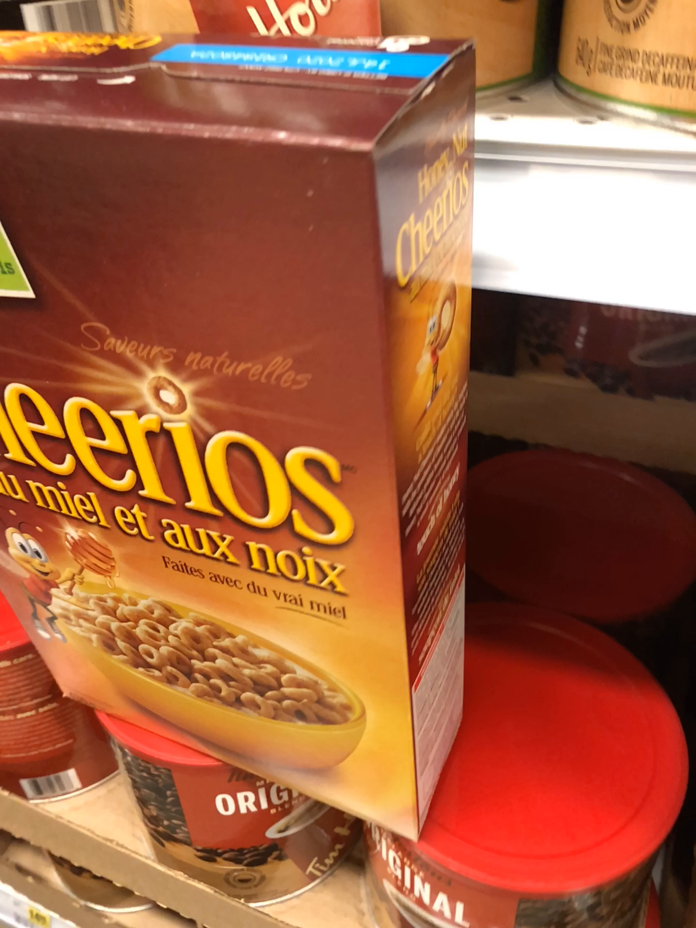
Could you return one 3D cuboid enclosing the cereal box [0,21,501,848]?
[{"bbox_3d":[-0.056,0.009,0.282,0.200,0.289,0.060,13,45,22],"label":"cereal box"}]
